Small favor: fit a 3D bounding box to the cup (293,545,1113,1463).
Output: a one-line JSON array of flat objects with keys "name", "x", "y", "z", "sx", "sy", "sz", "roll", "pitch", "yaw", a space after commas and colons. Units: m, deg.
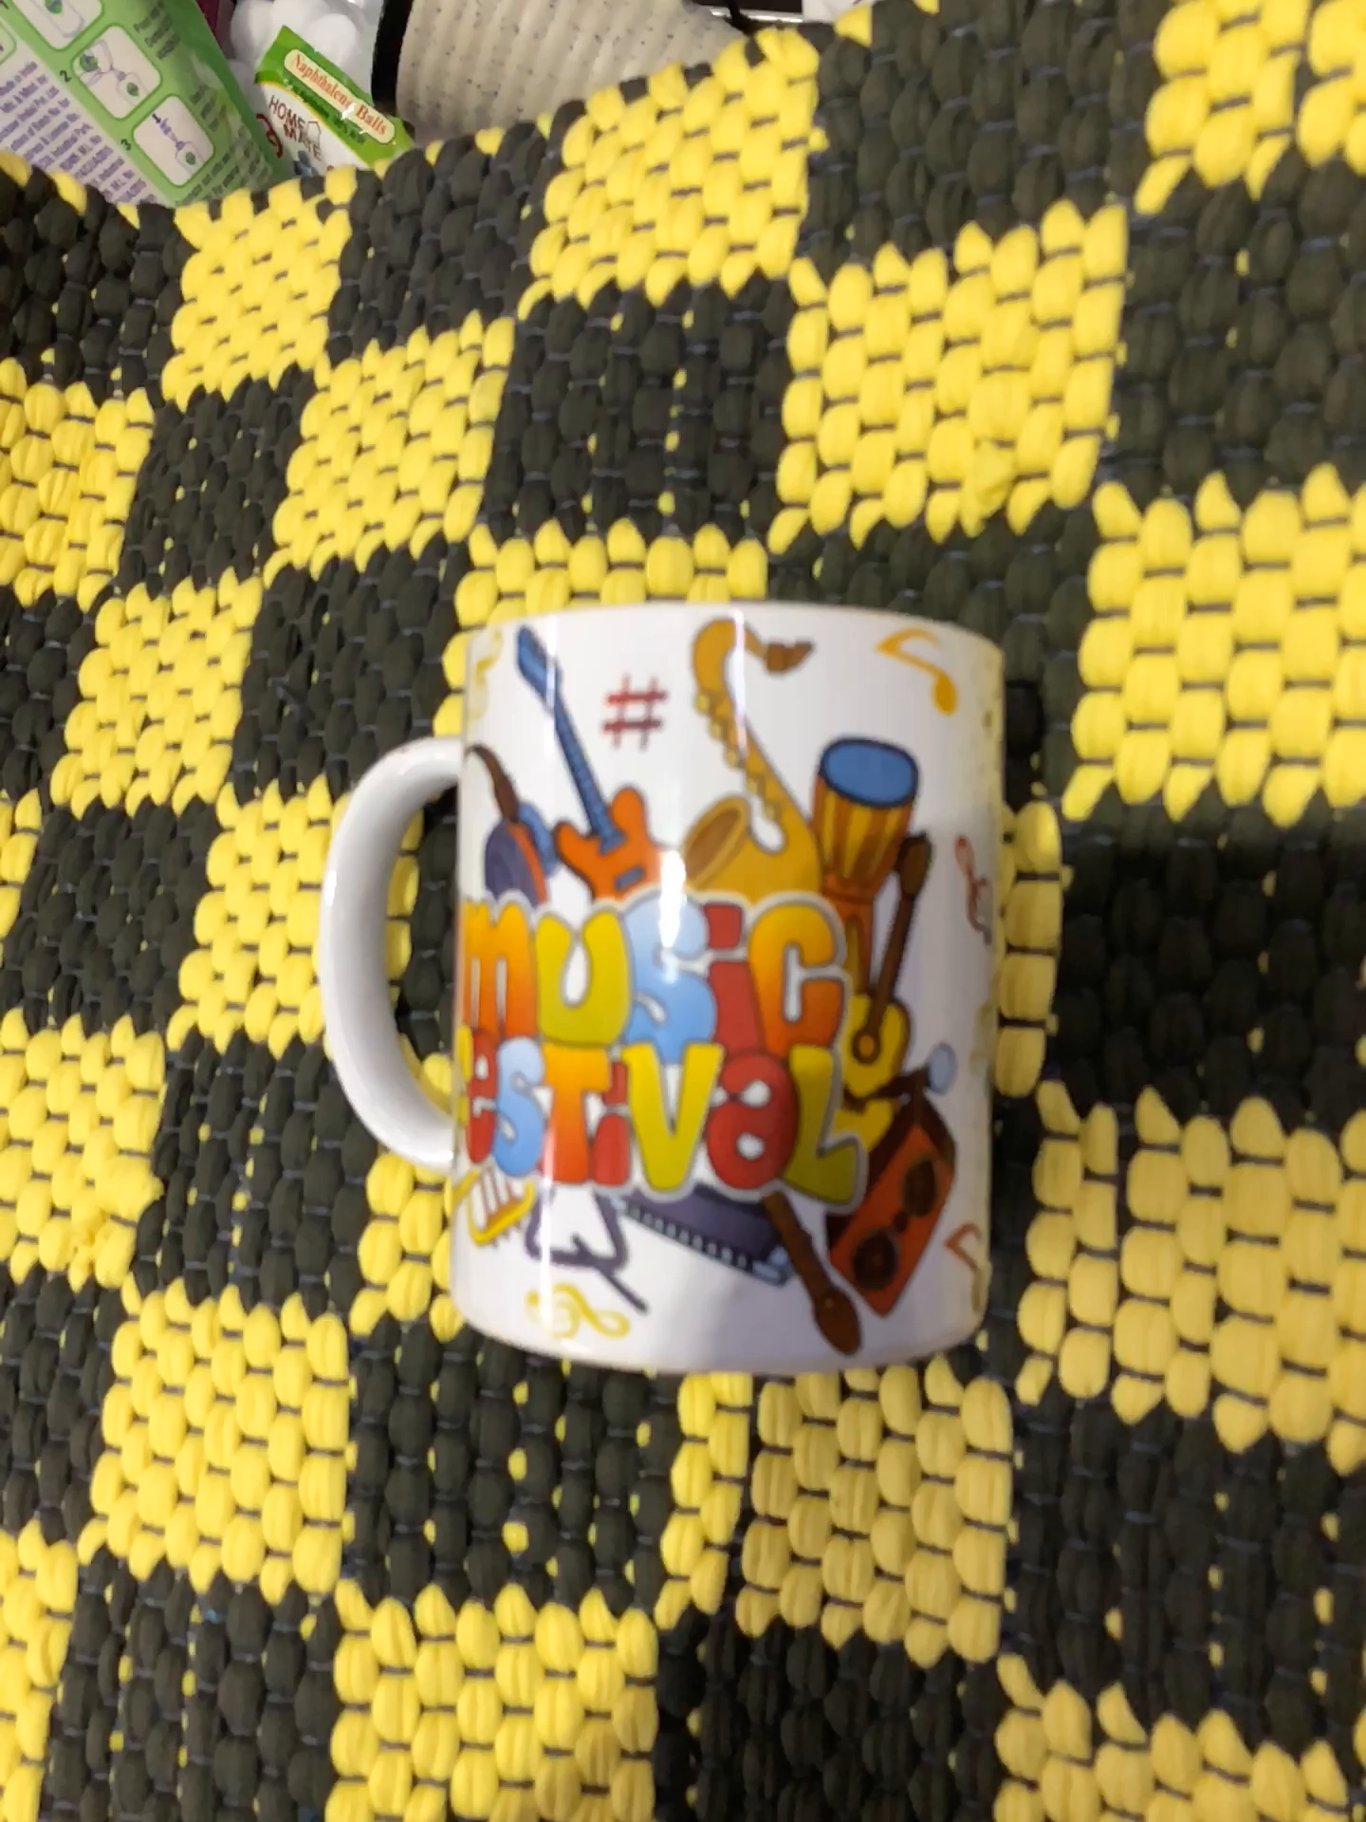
[{"name": "cup", "x": -0.001, "y": 0.011, "z": 0.224, "sx": 0.100, "sy": 0.070, "sz": 0.100, "roll": -4, "pitch": 84, "yaw": 49}]
